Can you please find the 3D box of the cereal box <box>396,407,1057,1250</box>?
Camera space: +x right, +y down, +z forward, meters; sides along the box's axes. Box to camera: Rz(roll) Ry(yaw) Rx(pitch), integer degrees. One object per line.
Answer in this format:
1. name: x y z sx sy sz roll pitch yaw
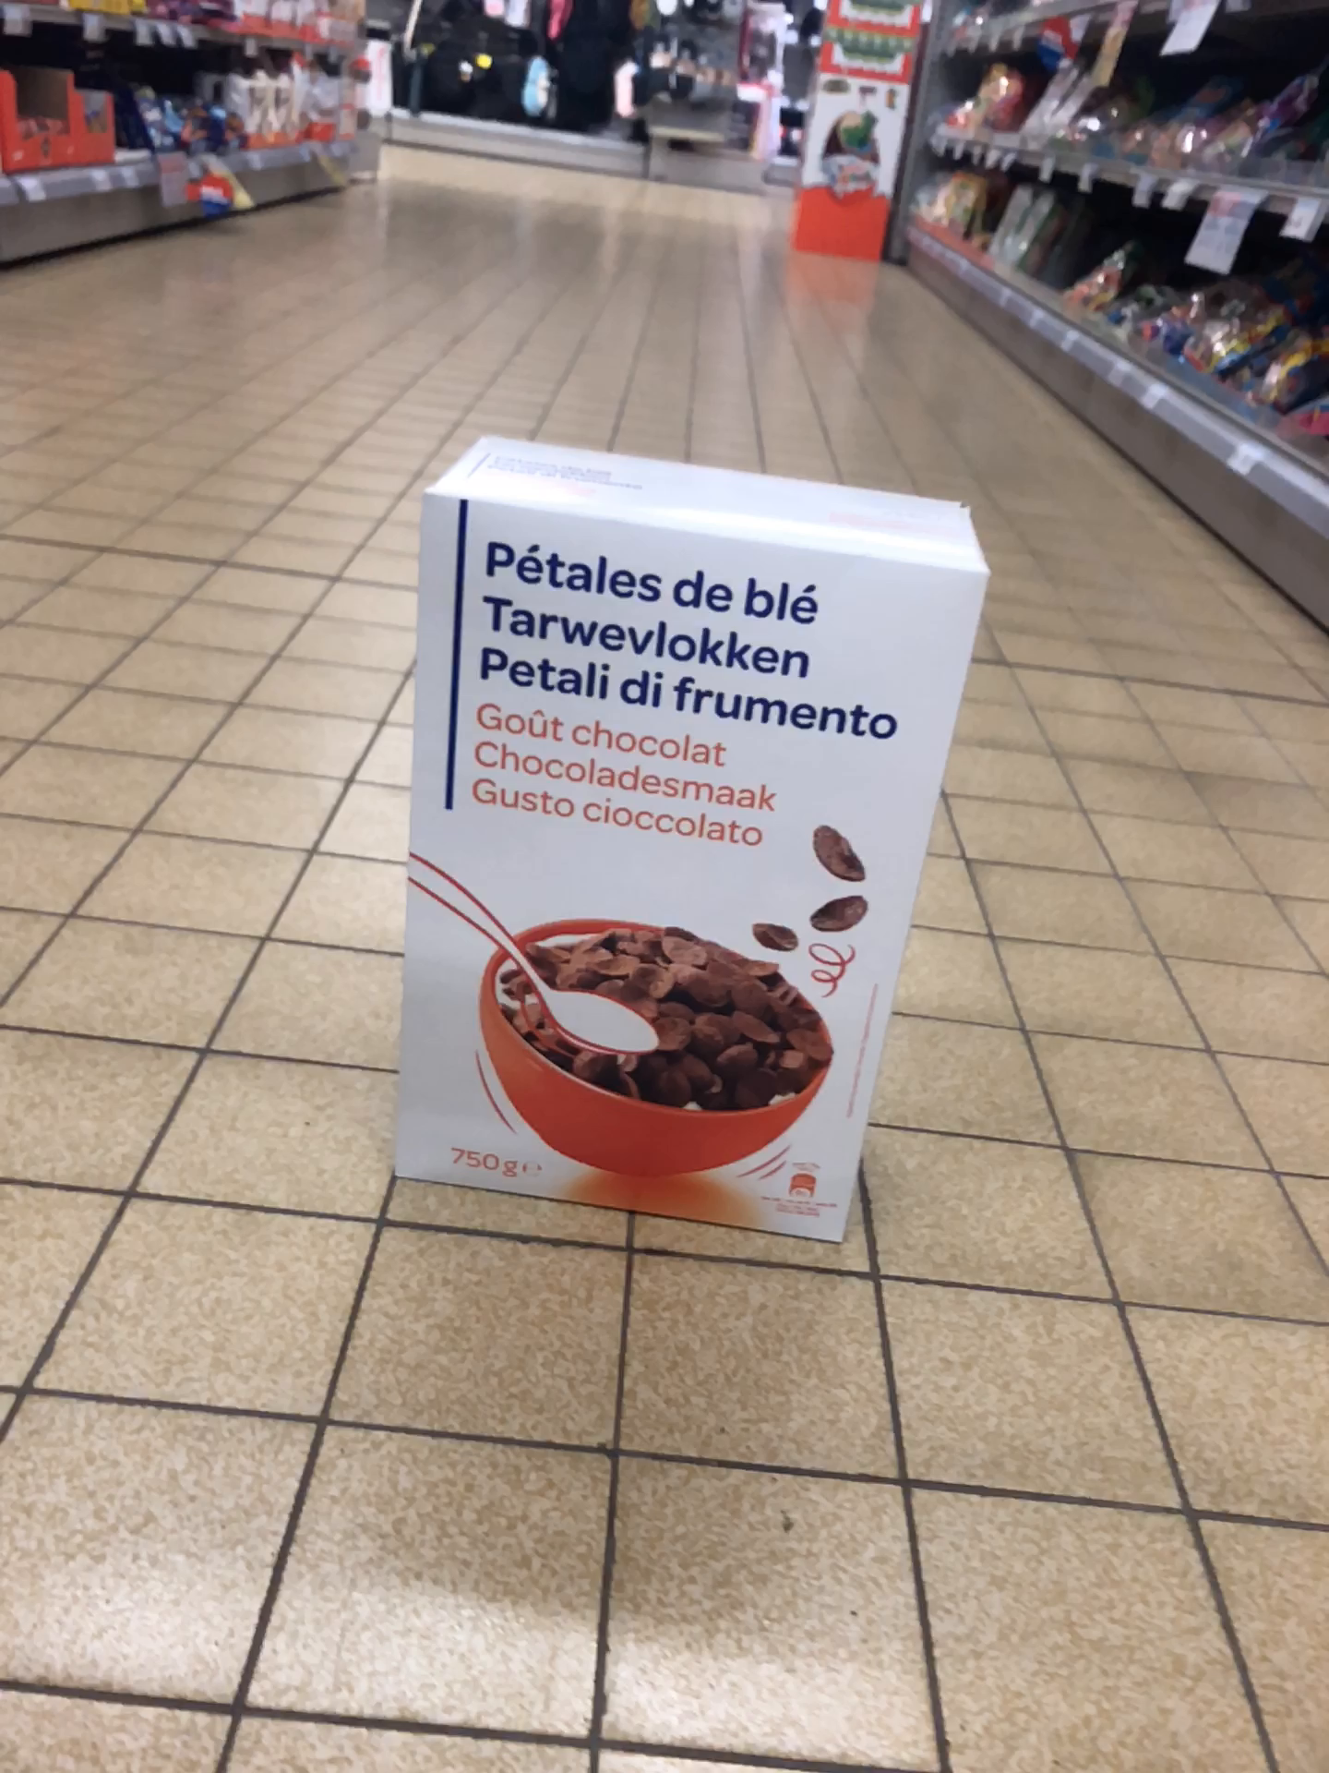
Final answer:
1. cereal box: 0.011 -0.017 0.577 0.200 0.288 0.101 8 27 0
